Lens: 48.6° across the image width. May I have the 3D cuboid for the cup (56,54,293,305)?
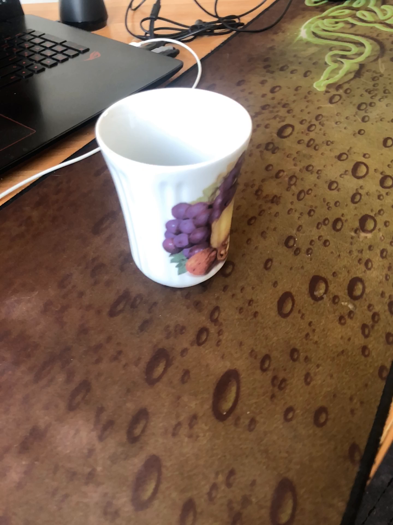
[{"bbox_3d":[-0.004,-0.050,0.240,0.080,0.080,0.100,16,48,17],"label":"cup"}]
